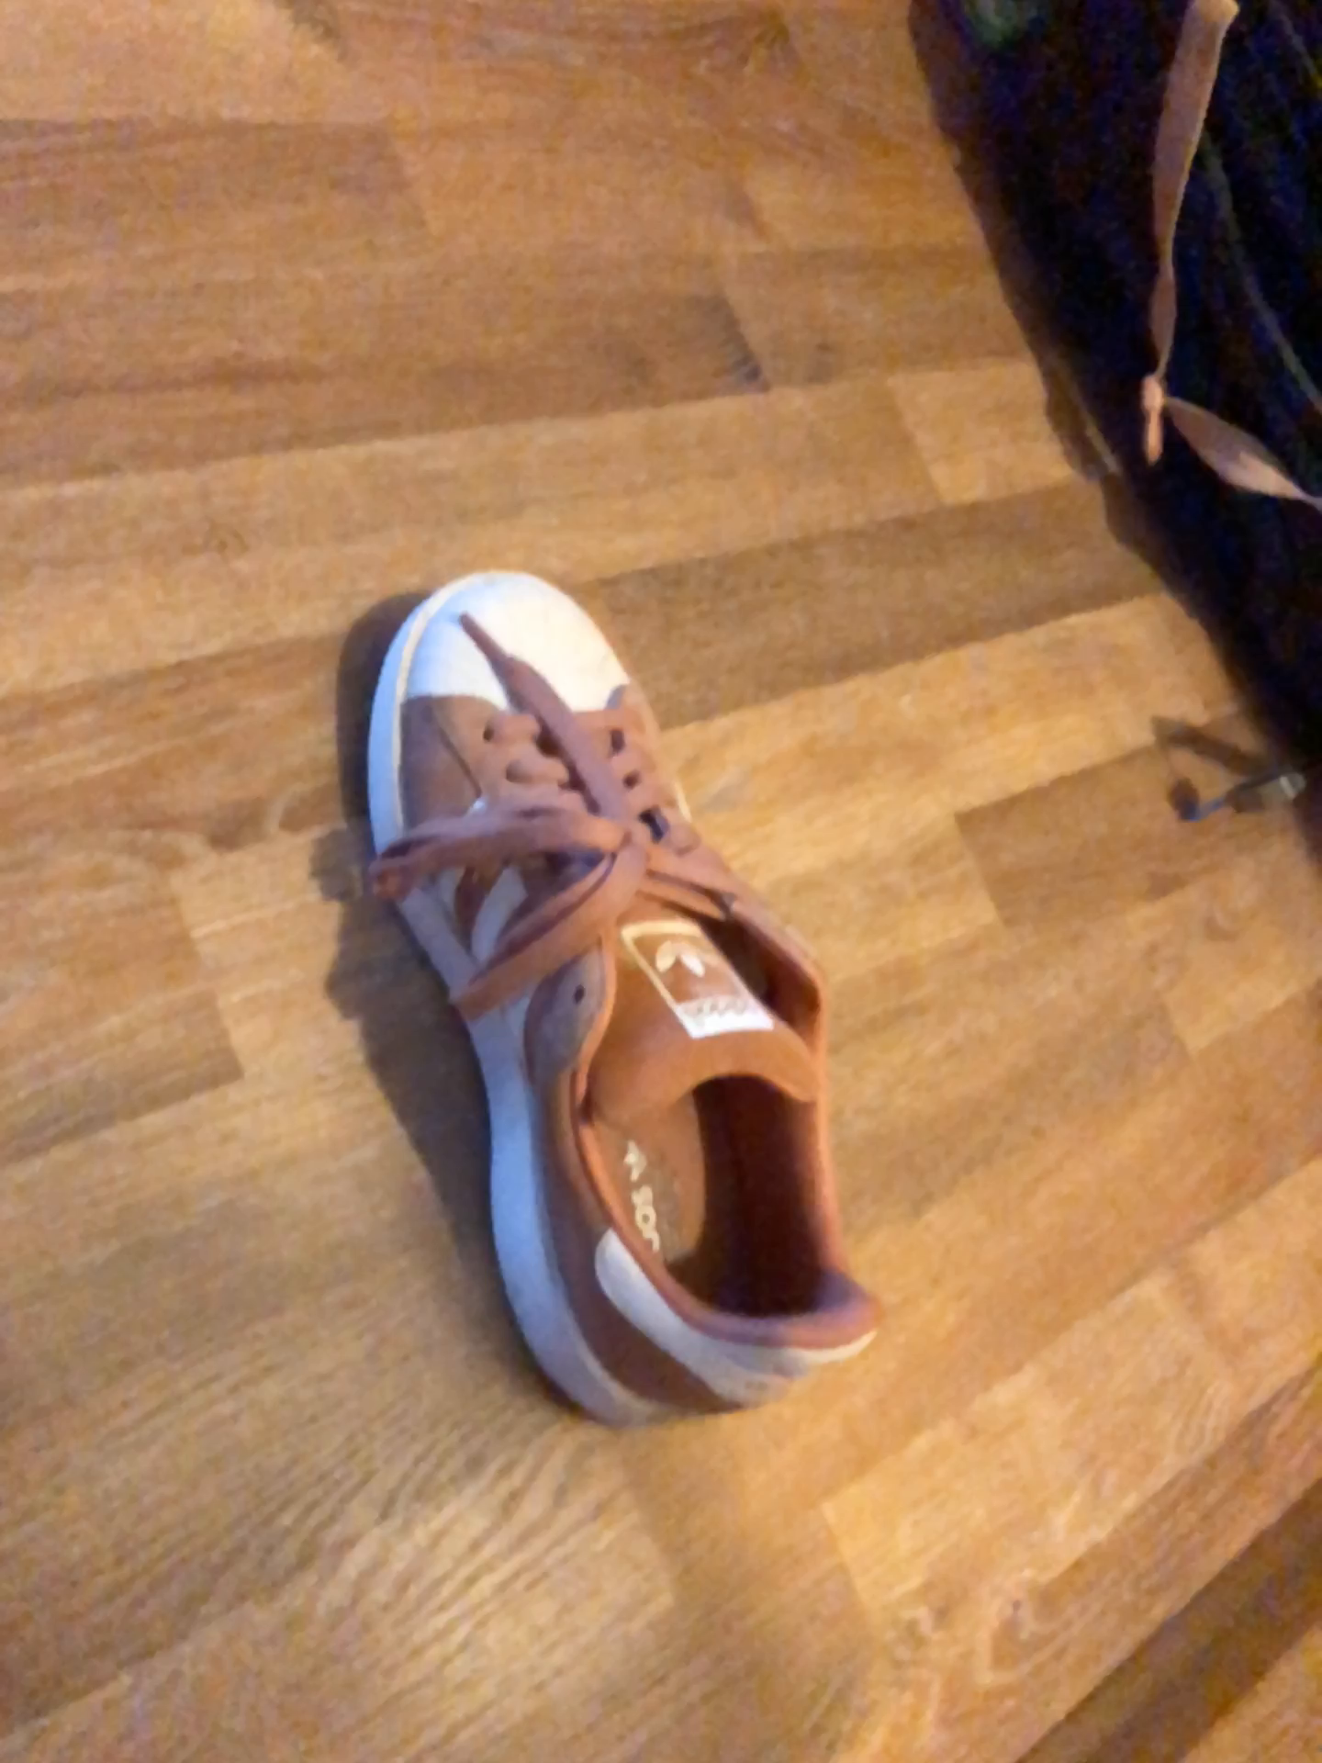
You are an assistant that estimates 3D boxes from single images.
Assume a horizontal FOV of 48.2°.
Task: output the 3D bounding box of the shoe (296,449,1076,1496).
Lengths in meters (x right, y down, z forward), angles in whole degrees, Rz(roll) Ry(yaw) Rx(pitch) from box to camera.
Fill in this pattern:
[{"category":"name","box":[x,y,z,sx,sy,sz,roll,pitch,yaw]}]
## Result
[{"category":"shoe","box":[-0.003,0.021,0.425,0.111,0.109,0.260,-12,78,-33]}]
